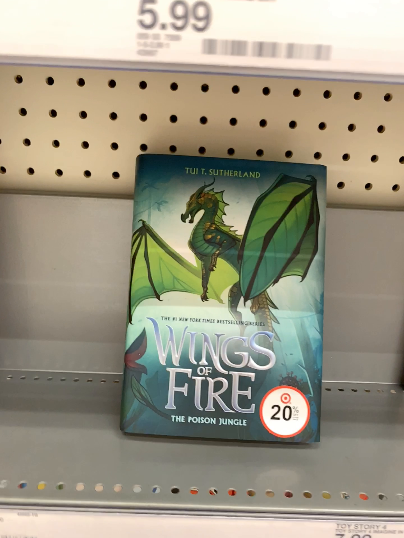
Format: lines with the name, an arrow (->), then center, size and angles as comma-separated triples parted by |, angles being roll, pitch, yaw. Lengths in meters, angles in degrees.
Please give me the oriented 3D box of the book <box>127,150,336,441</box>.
book -> 0.026, 0.018, 0.338 | 0.150, 0.215, 0.036 | 3, -6, 1
